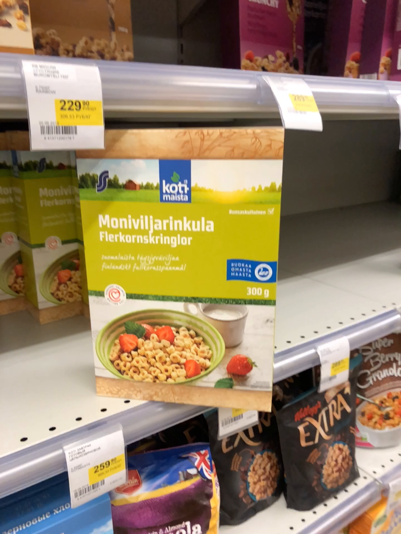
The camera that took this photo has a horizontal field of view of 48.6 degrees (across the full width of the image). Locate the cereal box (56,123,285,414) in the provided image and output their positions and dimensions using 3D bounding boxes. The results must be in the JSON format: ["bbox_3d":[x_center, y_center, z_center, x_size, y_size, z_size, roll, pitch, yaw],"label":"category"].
[{"bbox_3d":[-0.021,-0.001,0.427,0.190,0.259,0.070,2,17,10],"label":"cereal box"}]
